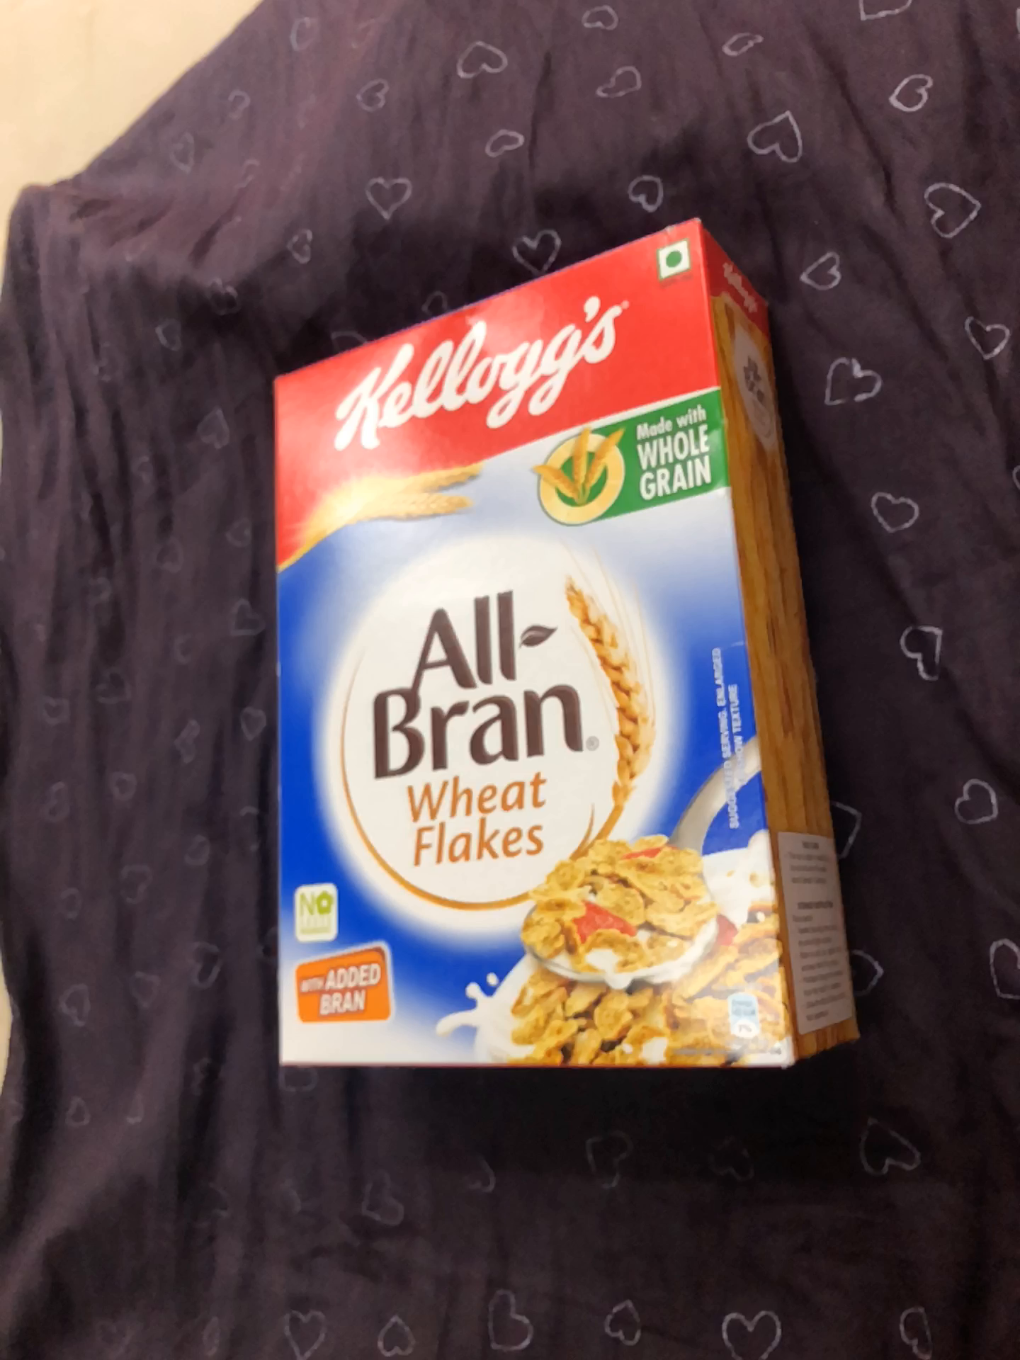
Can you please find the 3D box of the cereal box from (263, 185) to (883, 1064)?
[{"bbox_3d":[0.010,-0.007,0.401,0.190,0.070,0.260,-10,75,29],"label":"cereal box"}]
